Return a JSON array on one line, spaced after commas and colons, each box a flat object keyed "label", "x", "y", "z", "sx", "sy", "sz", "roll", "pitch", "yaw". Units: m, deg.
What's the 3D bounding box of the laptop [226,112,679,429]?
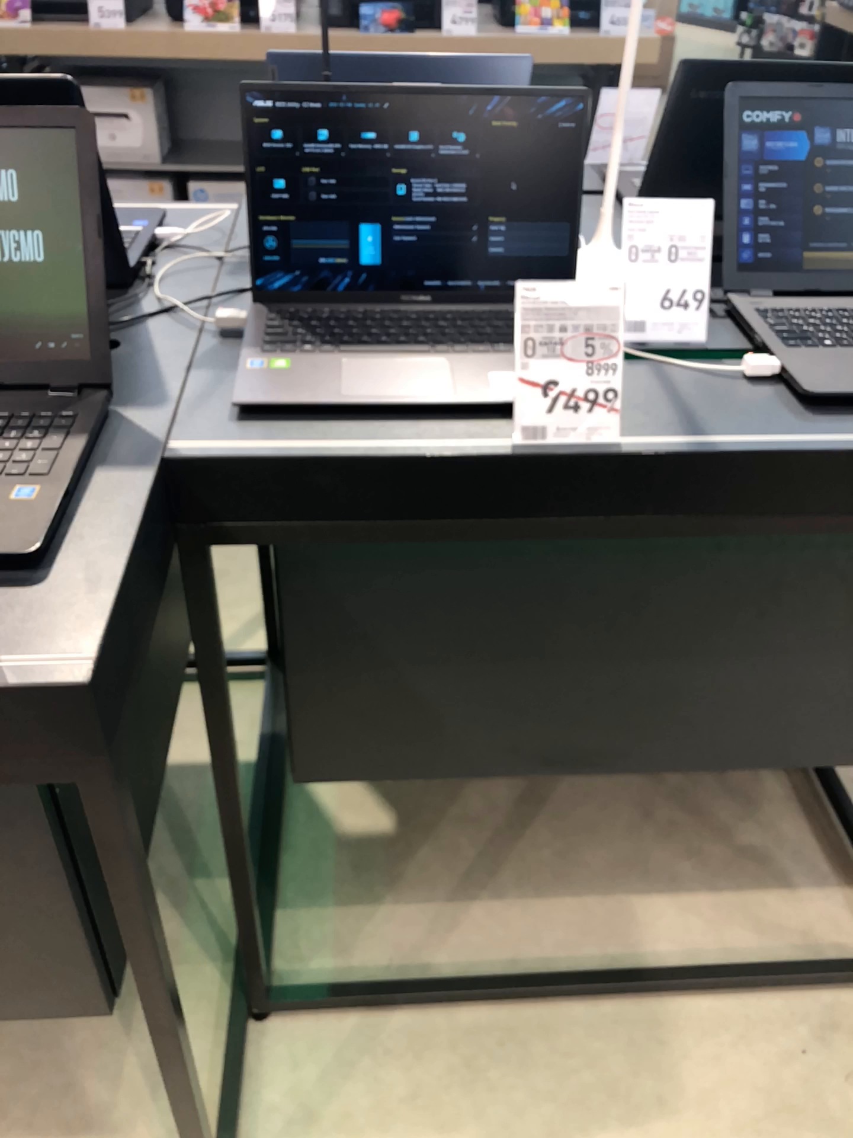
[{"label": "laptop", "x": 0.010, "y": -0.298, "z": 0.914, "sx": 0.355, "sy": 0.200, "sz": 0.288, "roll": -1, "pitch": 36, "yaw": -2}]
